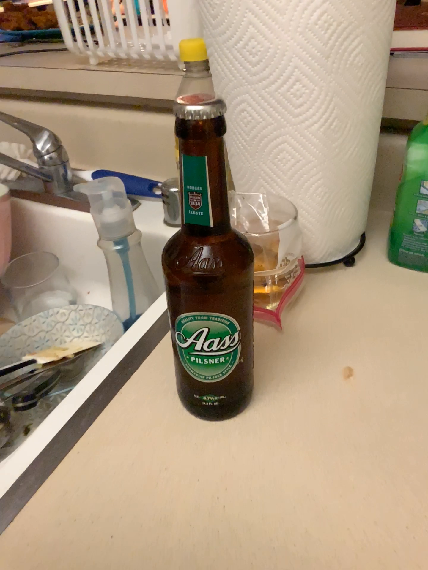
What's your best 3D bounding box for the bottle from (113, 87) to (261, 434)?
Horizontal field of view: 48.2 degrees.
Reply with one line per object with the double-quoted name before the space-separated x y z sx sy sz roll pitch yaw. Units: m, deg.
"bottle" -0.006 -0.002 0.318 0.070 0.230 0.060 1 35 7
